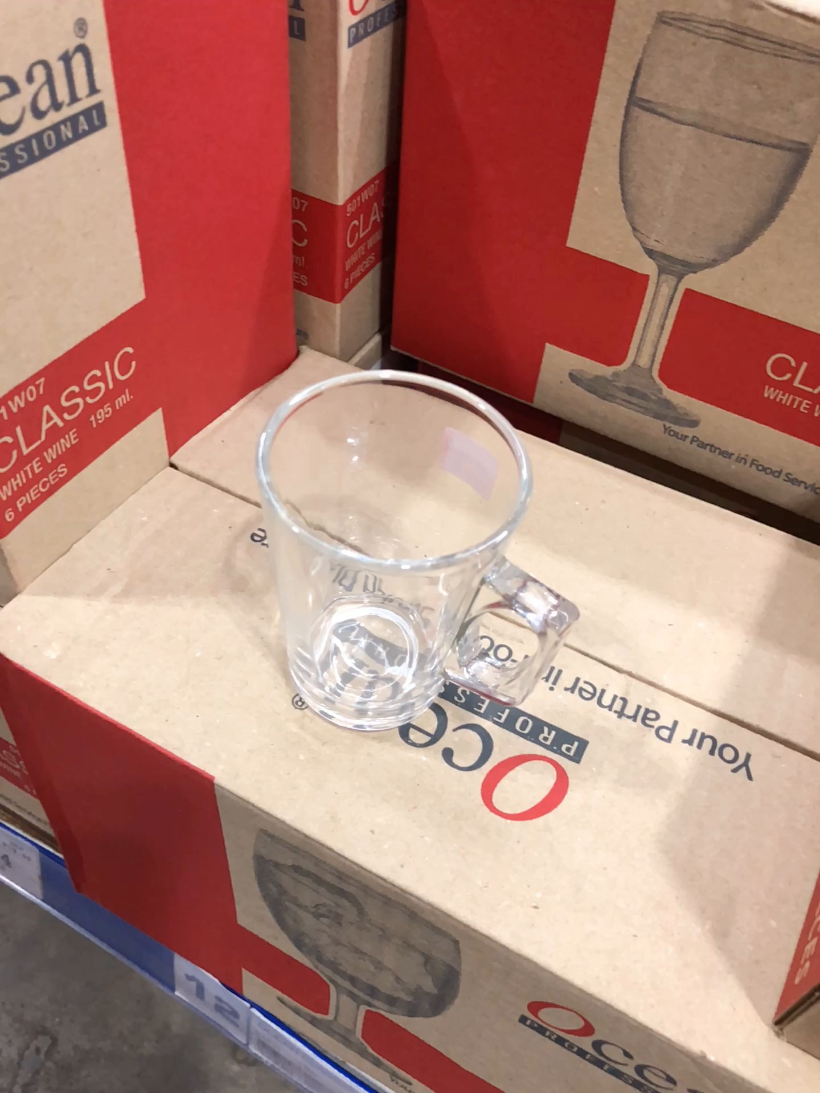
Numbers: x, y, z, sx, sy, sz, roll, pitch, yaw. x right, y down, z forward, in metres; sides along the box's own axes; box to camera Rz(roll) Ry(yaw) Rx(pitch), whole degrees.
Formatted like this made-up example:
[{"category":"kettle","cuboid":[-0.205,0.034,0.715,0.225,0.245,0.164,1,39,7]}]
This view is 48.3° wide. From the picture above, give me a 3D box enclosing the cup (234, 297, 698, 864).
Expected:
[{"category":"cup","cuboid":[0.008,0.010,0.217,0.070,0.100,0.060,32,53,22]}]
